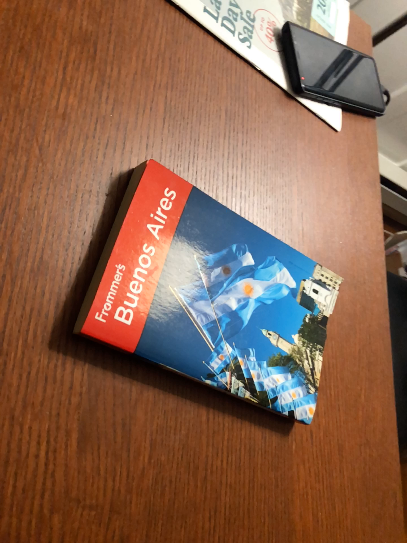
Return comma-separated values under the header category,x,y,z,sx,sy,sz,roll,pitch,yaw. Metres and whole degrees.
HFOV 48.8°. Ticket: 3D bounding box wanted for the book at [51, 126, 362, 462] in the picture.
category,x,y,z,sx,sy,sz,roll,pitch,yaw
book,0.028,0.024,0.319,0.220,0.020,0.160,29,62,-27
